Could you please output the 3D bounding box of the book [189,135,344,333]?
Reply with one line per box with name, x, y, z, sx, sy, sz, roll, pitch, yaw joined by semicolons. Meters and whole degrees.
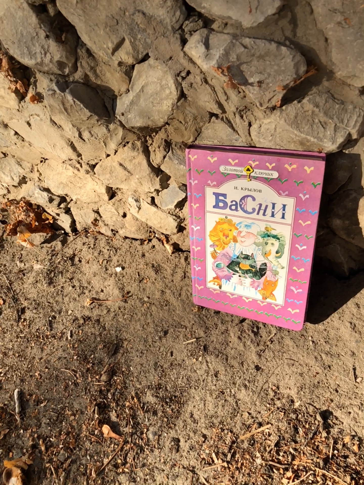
book;0.080;-0.005;0.430;0.142;0.201;0.025;11;33;21
